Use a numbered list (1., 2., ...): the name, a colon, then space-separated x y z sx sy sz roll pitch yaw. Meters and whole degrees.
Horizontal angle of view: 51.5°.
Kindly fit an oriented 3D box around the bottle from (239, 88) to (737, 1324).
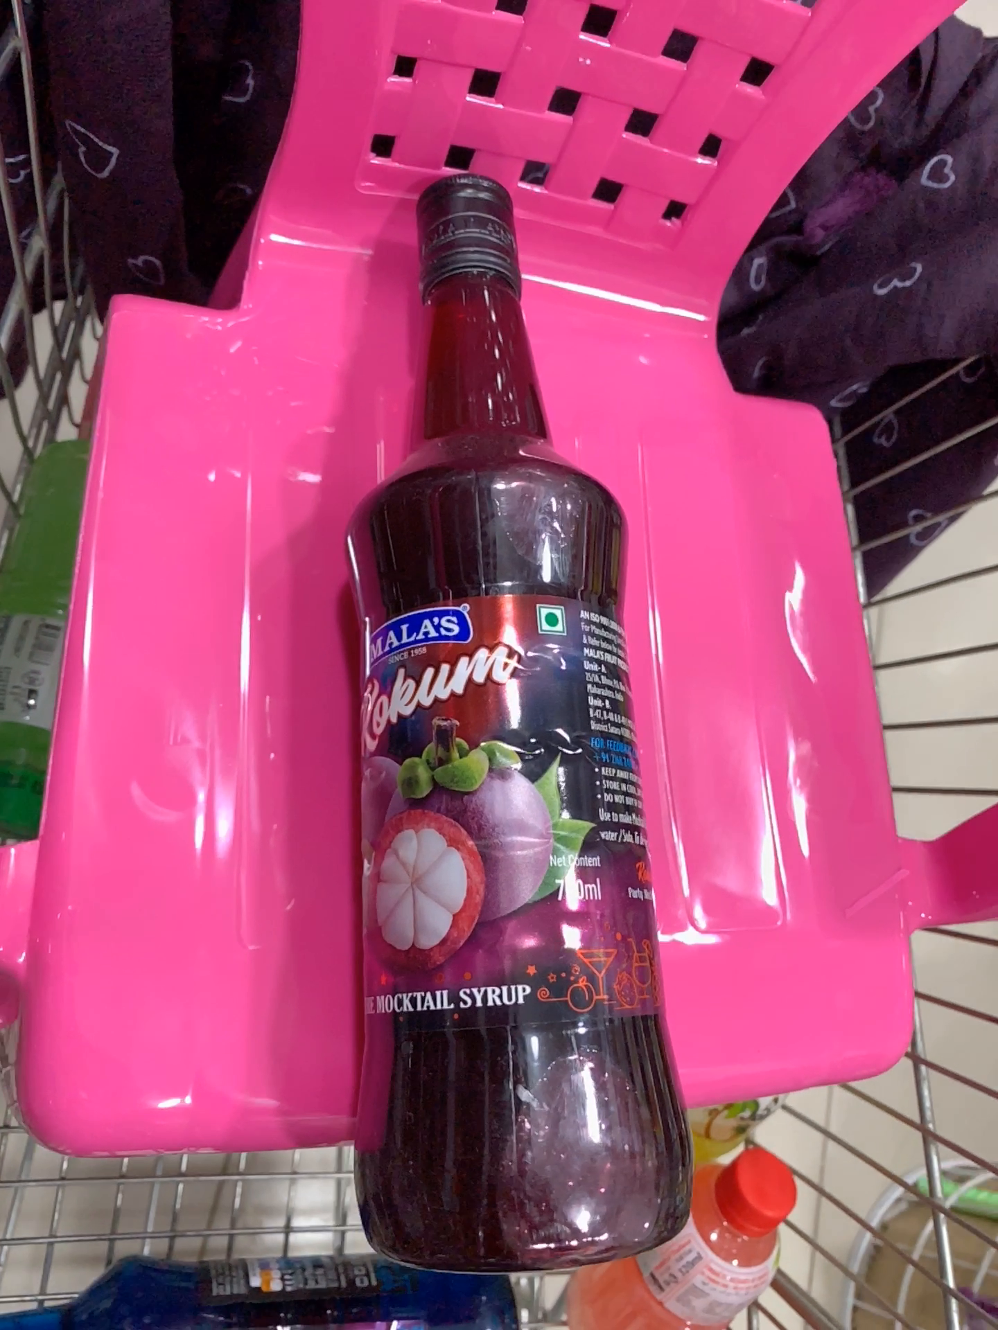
1. bottle: -0.005 0.003 0.267 0.080 0.080 0.260 14 69 -46
